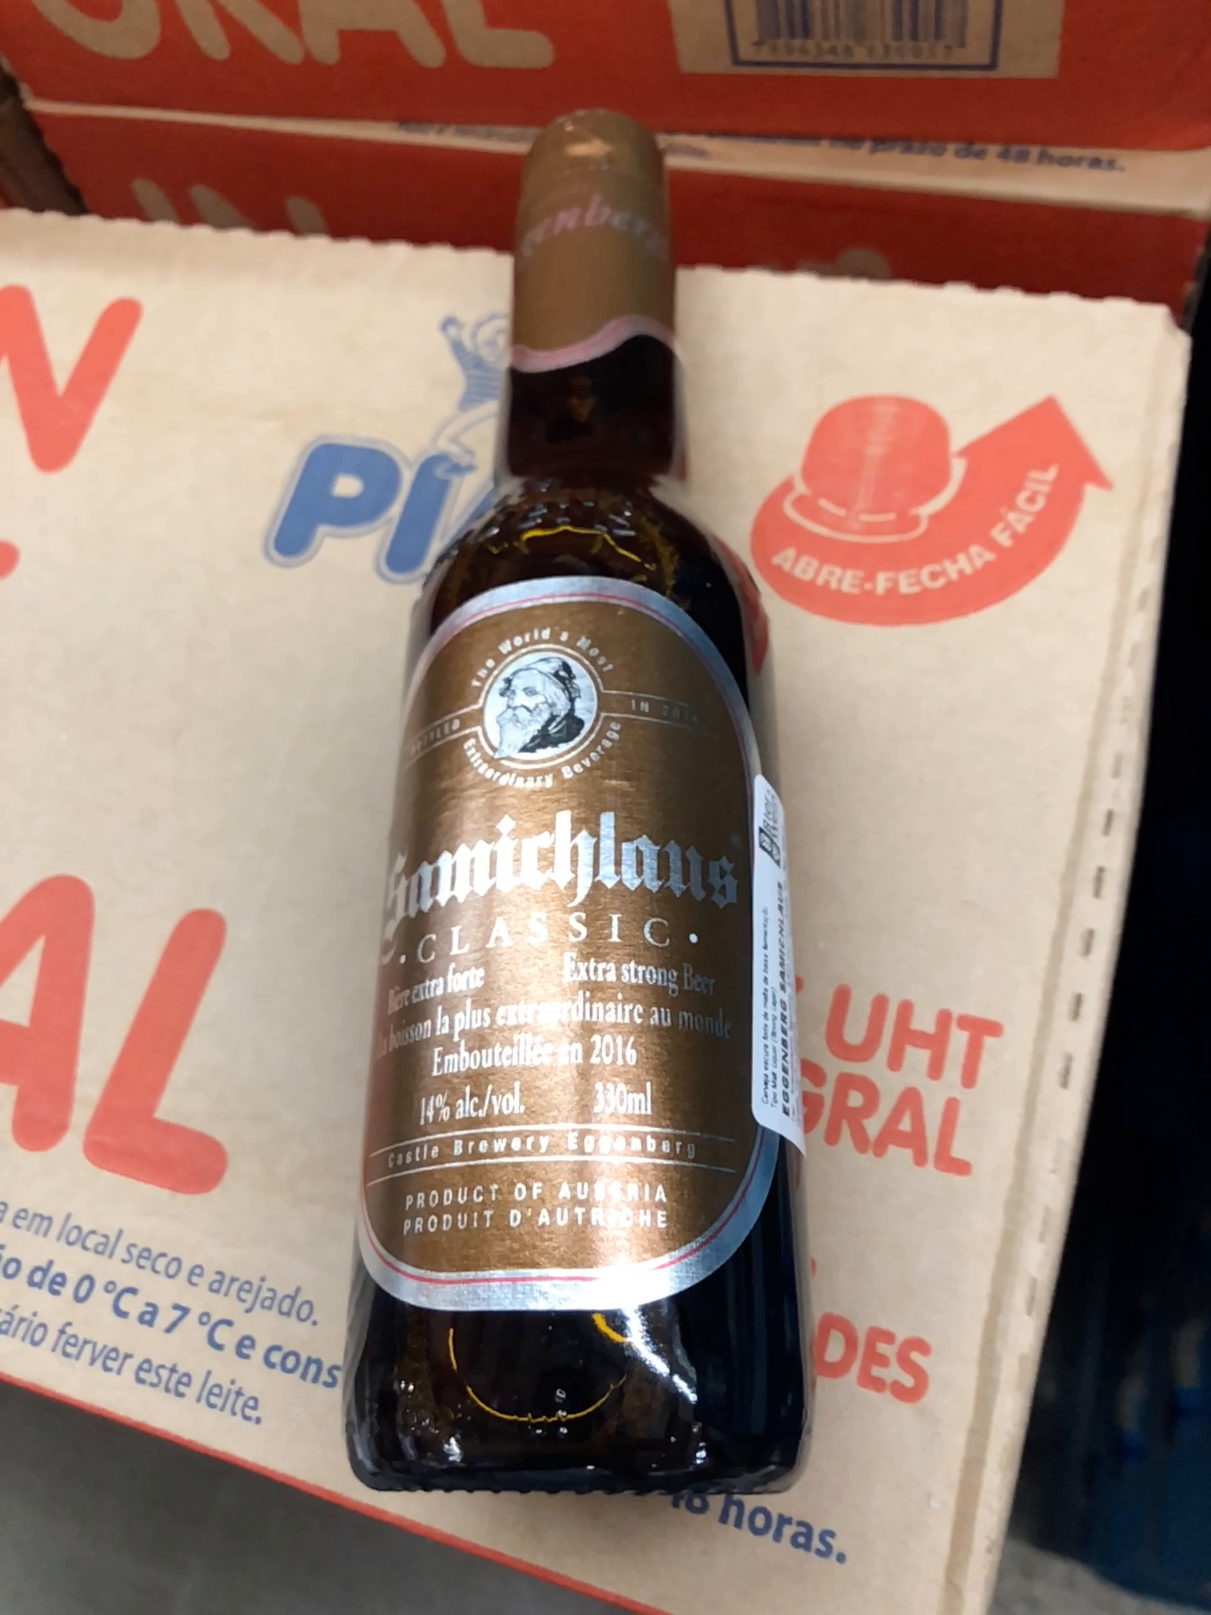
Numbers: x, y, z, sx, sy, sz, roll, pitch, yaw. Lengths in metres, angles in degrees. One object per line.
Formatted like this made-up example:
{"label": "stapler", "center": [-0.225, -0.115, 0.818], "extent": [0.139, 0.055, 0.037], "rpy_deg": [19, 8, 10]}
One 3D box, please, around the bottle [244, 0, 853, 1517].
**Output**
{"label": "bottle", "center": [-0.003, -0.034, 0.209], "extent": [0.060, 0.050, 0.251], "rpy_deg": [-5, 64, 8]}
